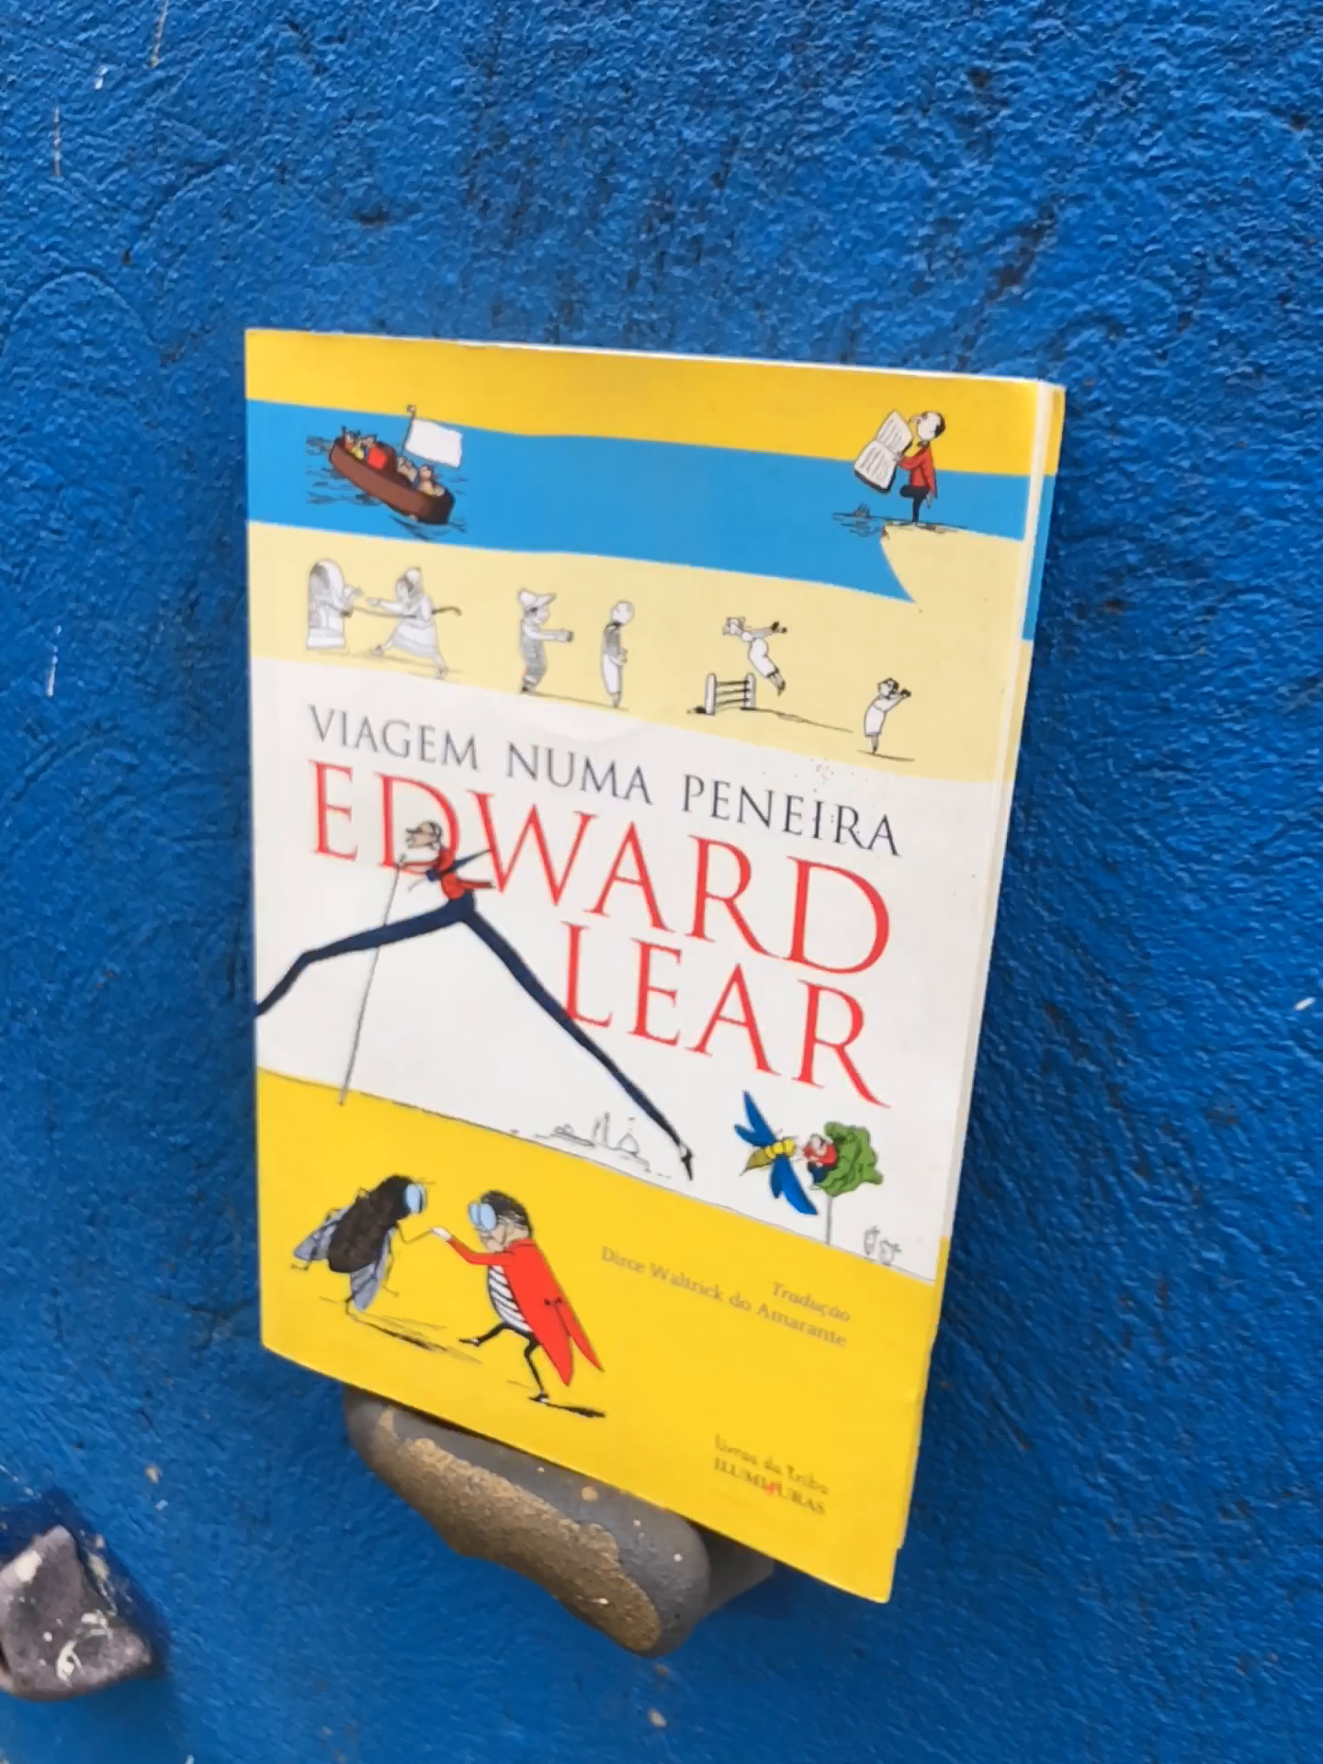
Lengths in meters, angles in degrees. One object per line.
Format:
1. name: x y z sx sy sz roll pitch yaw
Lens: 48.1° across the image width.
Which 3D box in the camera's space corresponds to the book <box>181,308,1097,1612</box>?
1. book: -0.017 0.013 0.279 0.158 0.219 0.022 12 21 23
